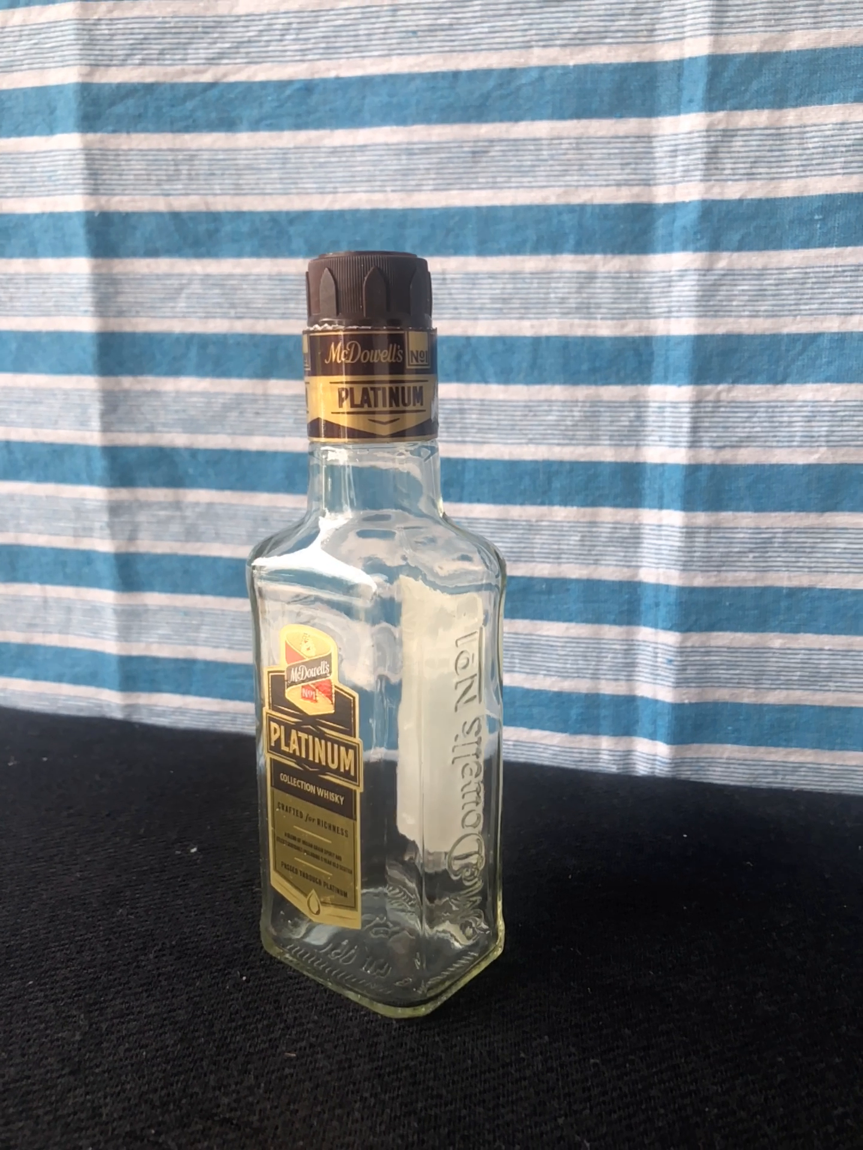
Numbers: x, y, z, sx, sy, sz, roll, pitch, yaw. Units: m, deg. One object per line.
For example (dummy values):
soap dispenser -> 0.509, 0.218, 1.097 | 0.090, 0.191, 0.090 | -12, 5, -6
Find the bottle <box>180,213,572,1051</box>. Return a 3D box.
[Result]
bottle -> -0.012, 0.009, 0.196 | 0.060, 0.149, 0.040 | 12, 18, 33
